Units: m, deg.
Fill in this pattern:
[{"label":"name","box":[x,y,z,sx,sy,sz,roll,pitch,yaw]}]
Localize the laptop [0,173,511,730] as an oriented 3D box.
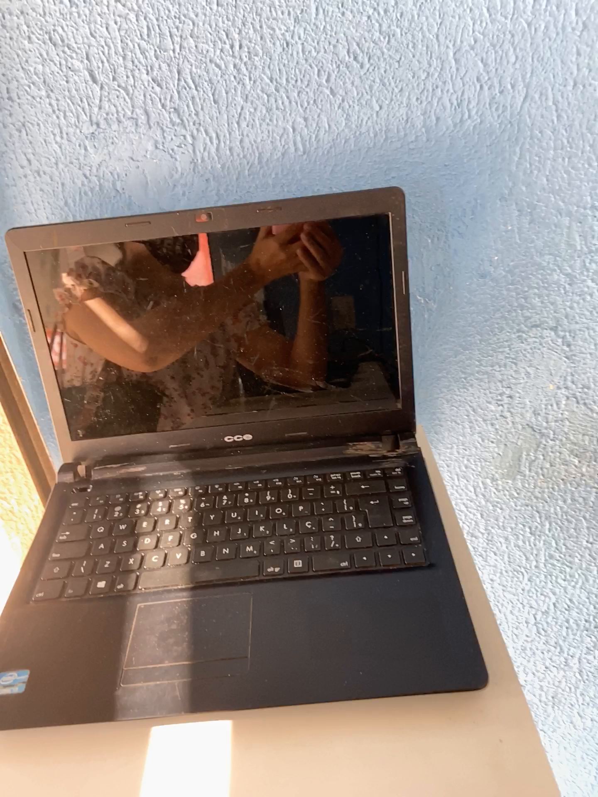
[{"label":"laptop","box":[-0.067,0.010,0.454,0.333,0.211,0.314,-6,34,3]}]
